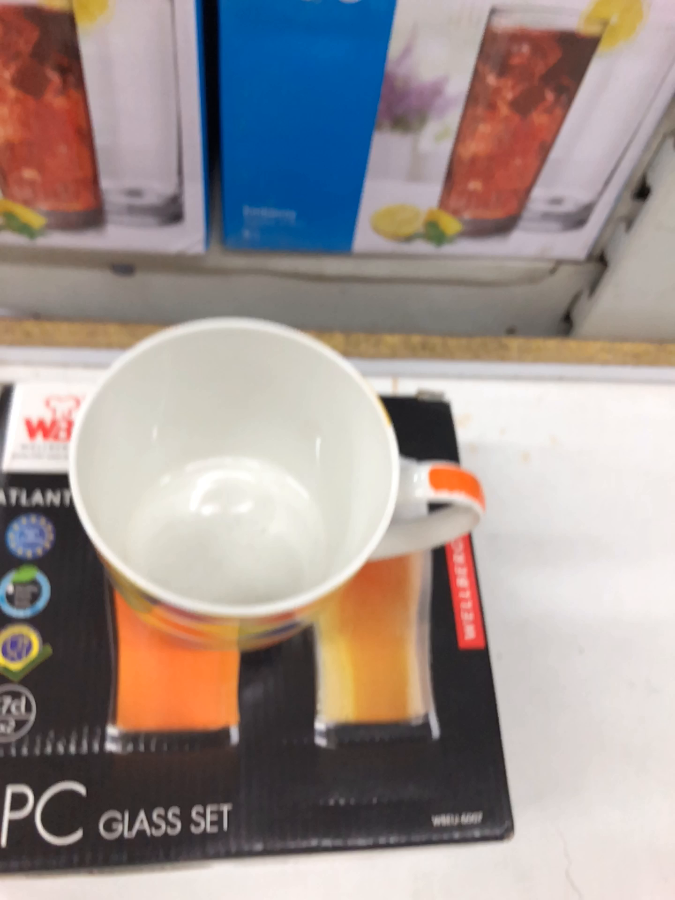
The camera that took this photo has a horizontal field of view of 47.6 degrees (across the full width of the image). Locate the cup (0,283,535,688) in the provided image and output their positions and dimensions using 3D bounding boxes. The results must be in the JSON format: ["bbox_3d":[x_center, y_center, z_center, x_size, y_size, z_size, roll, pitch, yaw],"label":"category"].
[{"bbox_3d":[-0.025,0.013,0.238,0.130,0.090,0.090,-2,61,-9],"label":"cup"}]
